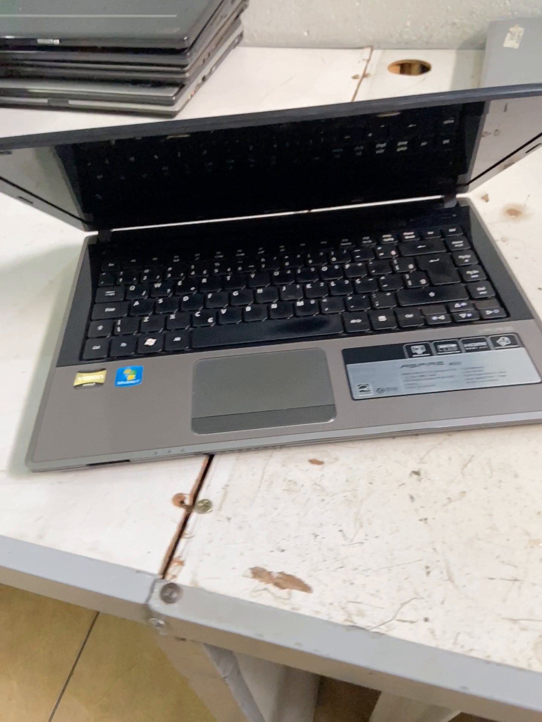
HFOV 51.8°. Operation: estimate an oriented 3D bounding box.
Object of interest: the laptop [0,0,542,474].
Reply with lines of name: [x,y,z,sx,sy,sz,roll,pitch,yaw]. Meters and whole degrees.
laptop: [0.006,-0.089,0.353,0.334,0.157,0.227,-6,47,0]
